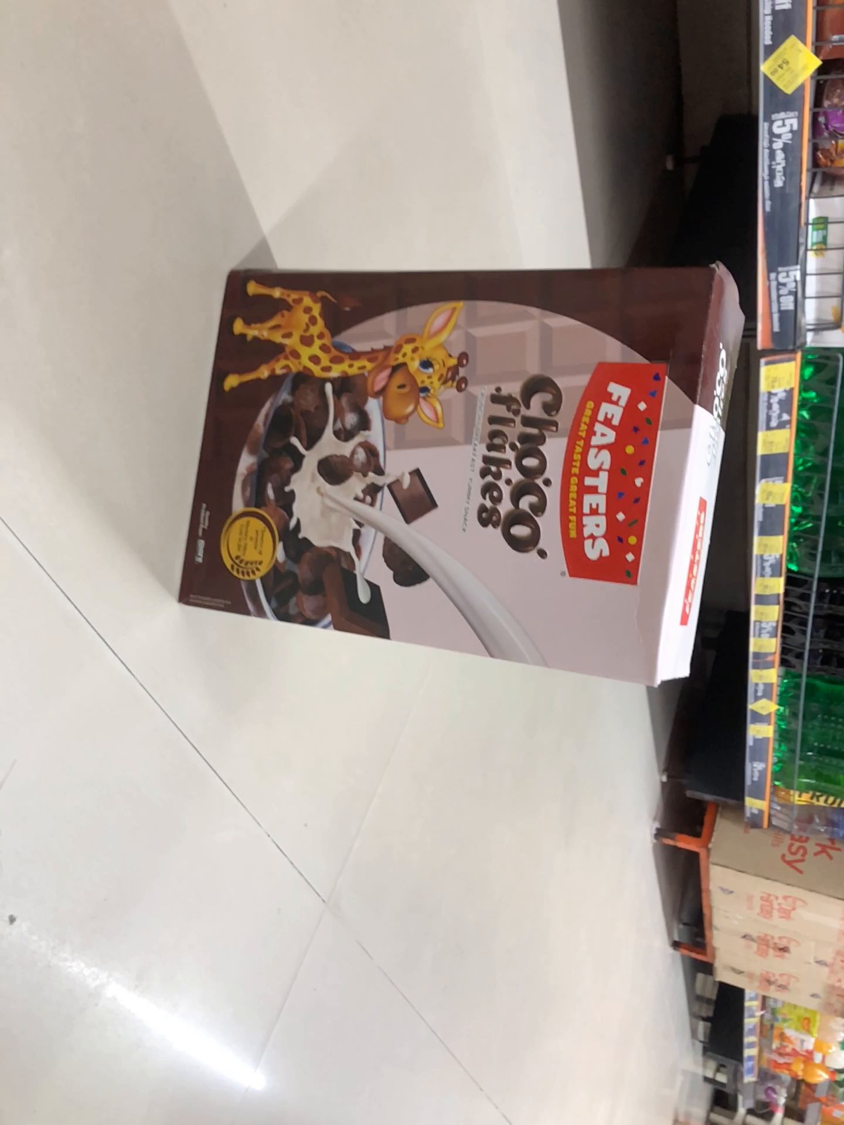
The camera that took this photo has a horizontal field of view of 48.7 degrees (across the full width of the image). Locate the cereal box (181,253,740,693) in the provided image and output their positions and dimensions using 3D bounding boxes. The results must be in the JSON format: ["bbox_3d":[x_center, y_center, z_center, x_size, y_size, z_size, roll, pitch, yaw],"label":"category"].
[{"bbox_3d":[0.013,-0.051,0.477,0.060,0.258,0.190,10,87,-66],"label":"cereal box"}]
